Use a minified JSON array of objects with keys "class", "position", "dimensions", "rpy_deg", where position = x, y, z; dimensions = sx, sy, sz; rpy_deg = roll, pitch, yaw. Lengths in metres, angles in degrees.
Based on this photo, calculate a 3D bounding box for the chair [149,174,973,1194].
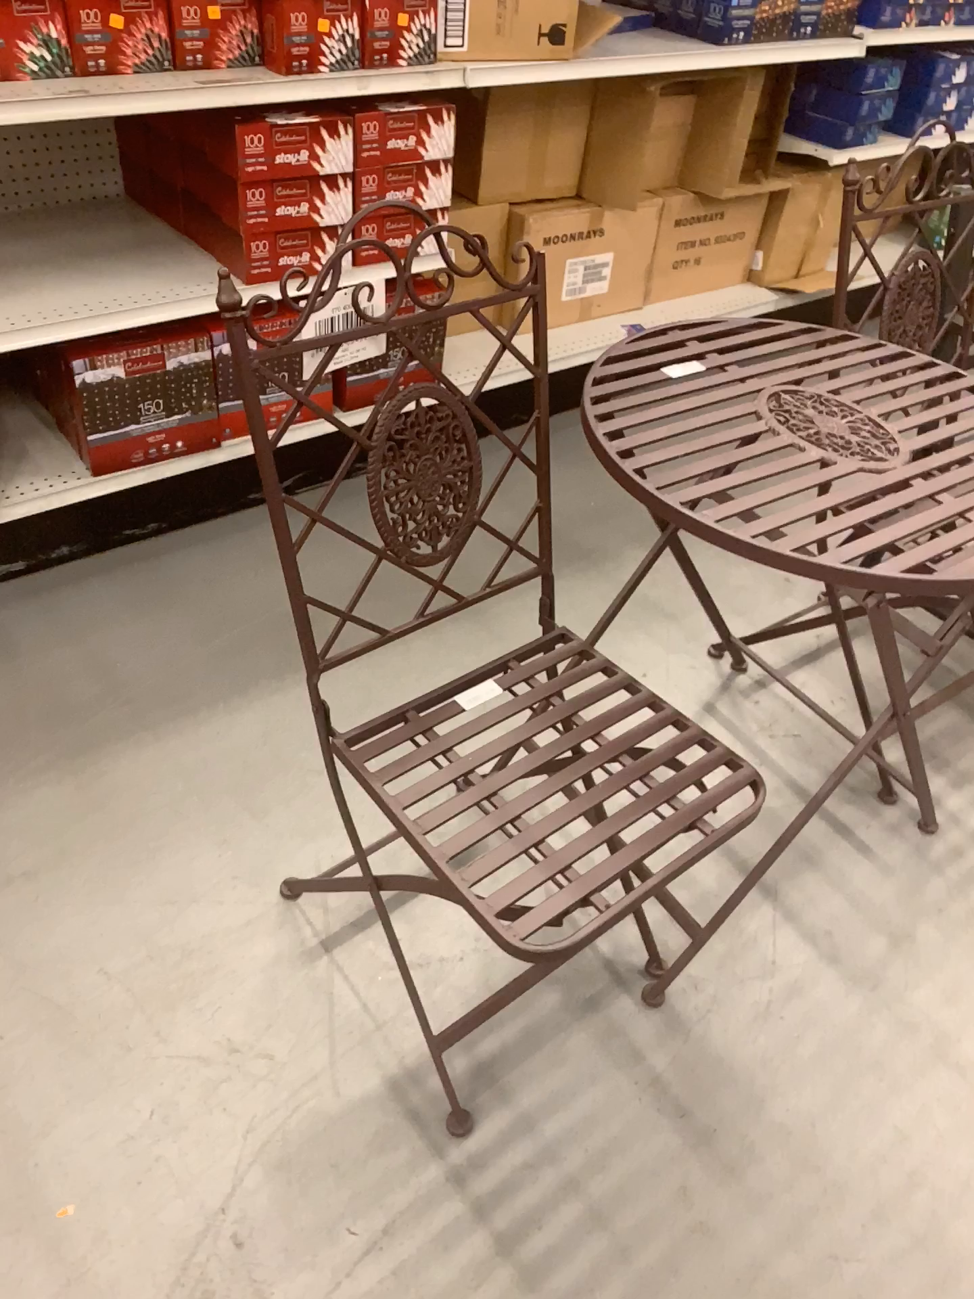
[{"class":"chair","position":[0.018,0.045,1.064],"dimensions":[0.423,0.839,0.565],"rpy_deg":[-26,51,-32]}]
